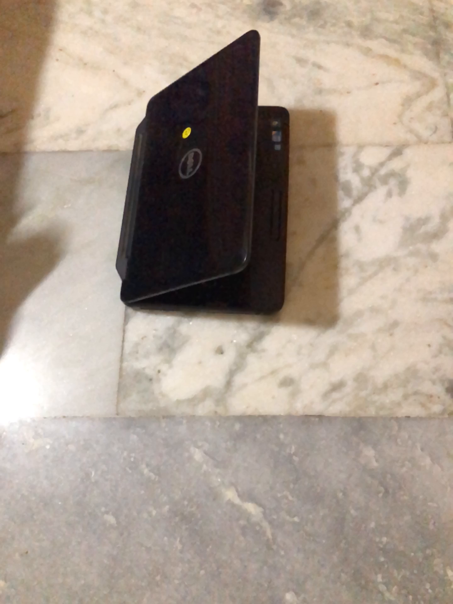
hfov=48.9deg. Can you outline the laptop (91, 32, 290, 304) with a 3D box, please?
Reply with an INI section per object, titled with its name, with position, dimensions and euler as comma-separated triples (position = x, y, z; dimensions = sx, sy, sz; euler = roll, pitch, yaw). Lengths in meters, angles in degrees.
[laptop]
position = -0.033, -0.189, 0.720
dimensions = 0.234, 0.161, 0.351
euler = 1, 68, 5
